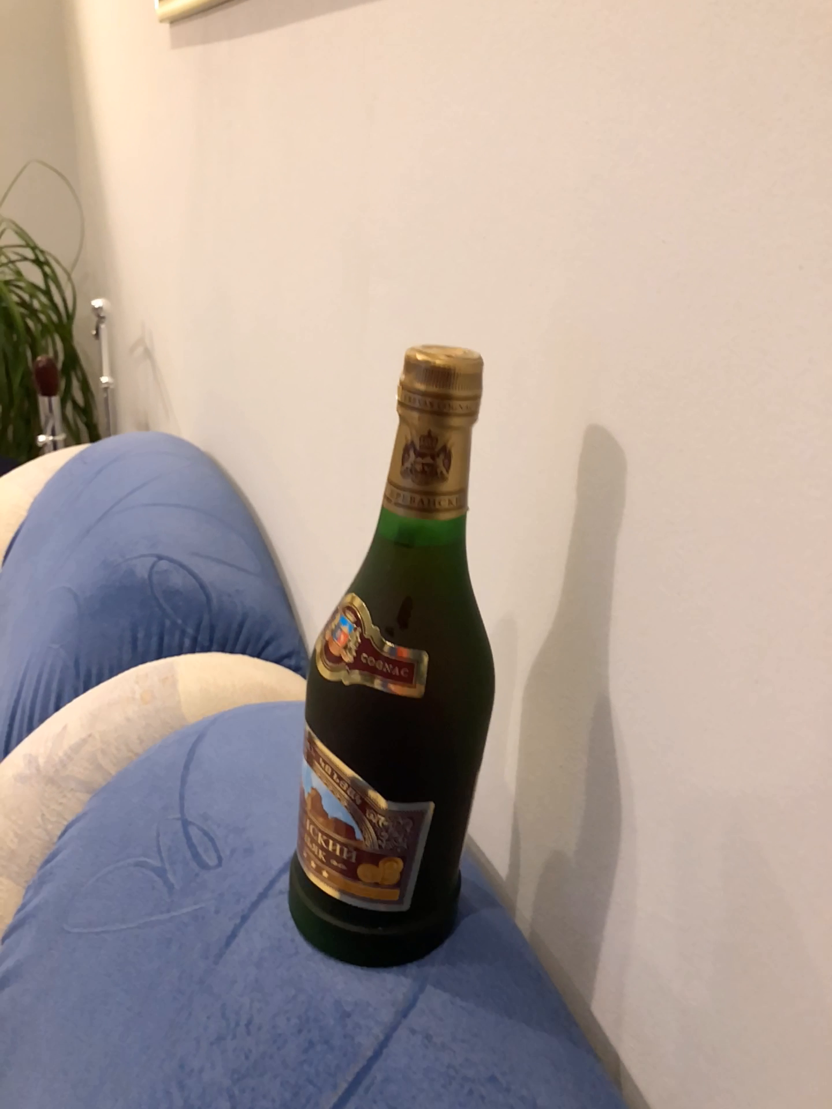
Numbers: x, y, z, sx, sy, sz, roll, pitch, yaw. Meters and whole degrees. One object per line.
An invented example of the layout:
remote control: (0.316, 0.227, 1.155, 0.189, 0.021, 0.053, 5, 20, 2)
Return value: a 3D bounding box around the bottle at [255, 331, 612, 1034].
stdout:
bottle: (-0.005, 0.045, 0.353, 0.080, 0.243, 0.090, -7, 25, -29)
